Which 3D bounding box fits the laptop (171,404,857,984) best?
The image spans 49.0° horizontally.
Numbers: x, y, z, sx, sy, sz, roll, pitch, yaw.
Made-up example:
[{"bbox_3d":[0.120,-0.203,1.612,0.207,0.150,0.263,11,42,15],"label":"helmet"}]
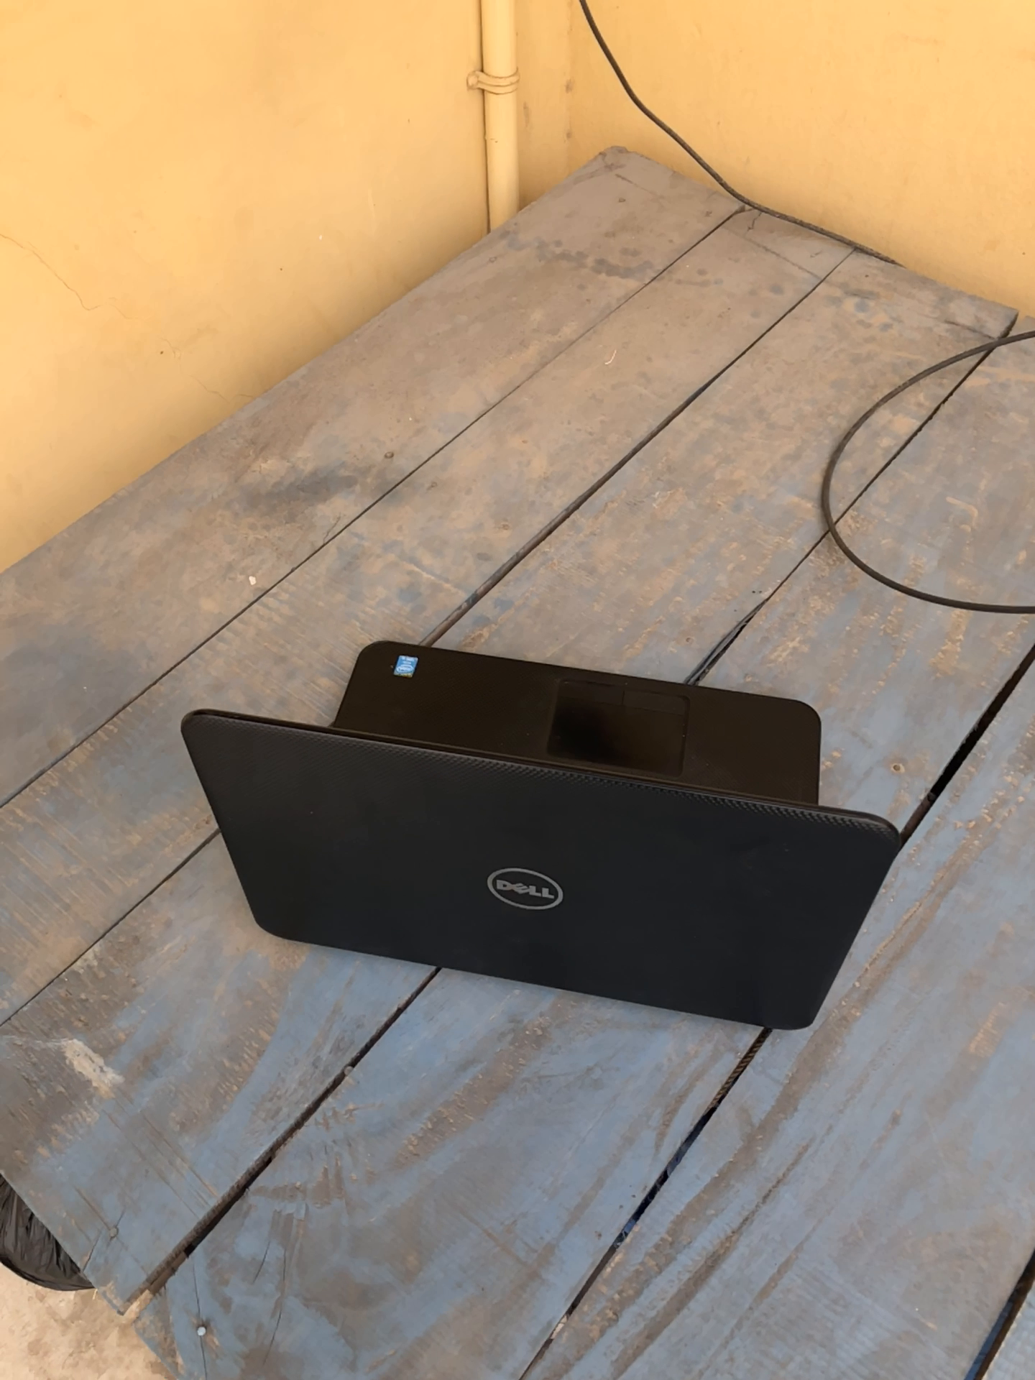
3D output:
[{"bbox_3d":[0.015,0.005,0.725,0.340,0.234,0.226,8,55,8],"label":"laptop"}]
